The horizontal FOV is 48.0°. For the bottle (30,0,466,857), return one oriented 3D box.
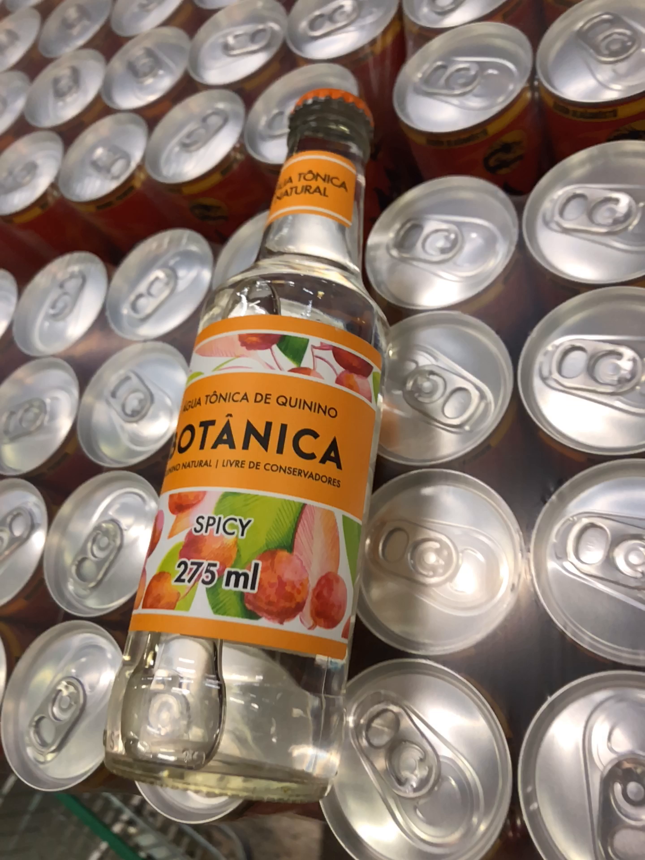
[{"bbox_3d":[-0.008,-0.017,0.193,0.070,0.050,0.210,-1,70,25],"label":"bottle"}]
